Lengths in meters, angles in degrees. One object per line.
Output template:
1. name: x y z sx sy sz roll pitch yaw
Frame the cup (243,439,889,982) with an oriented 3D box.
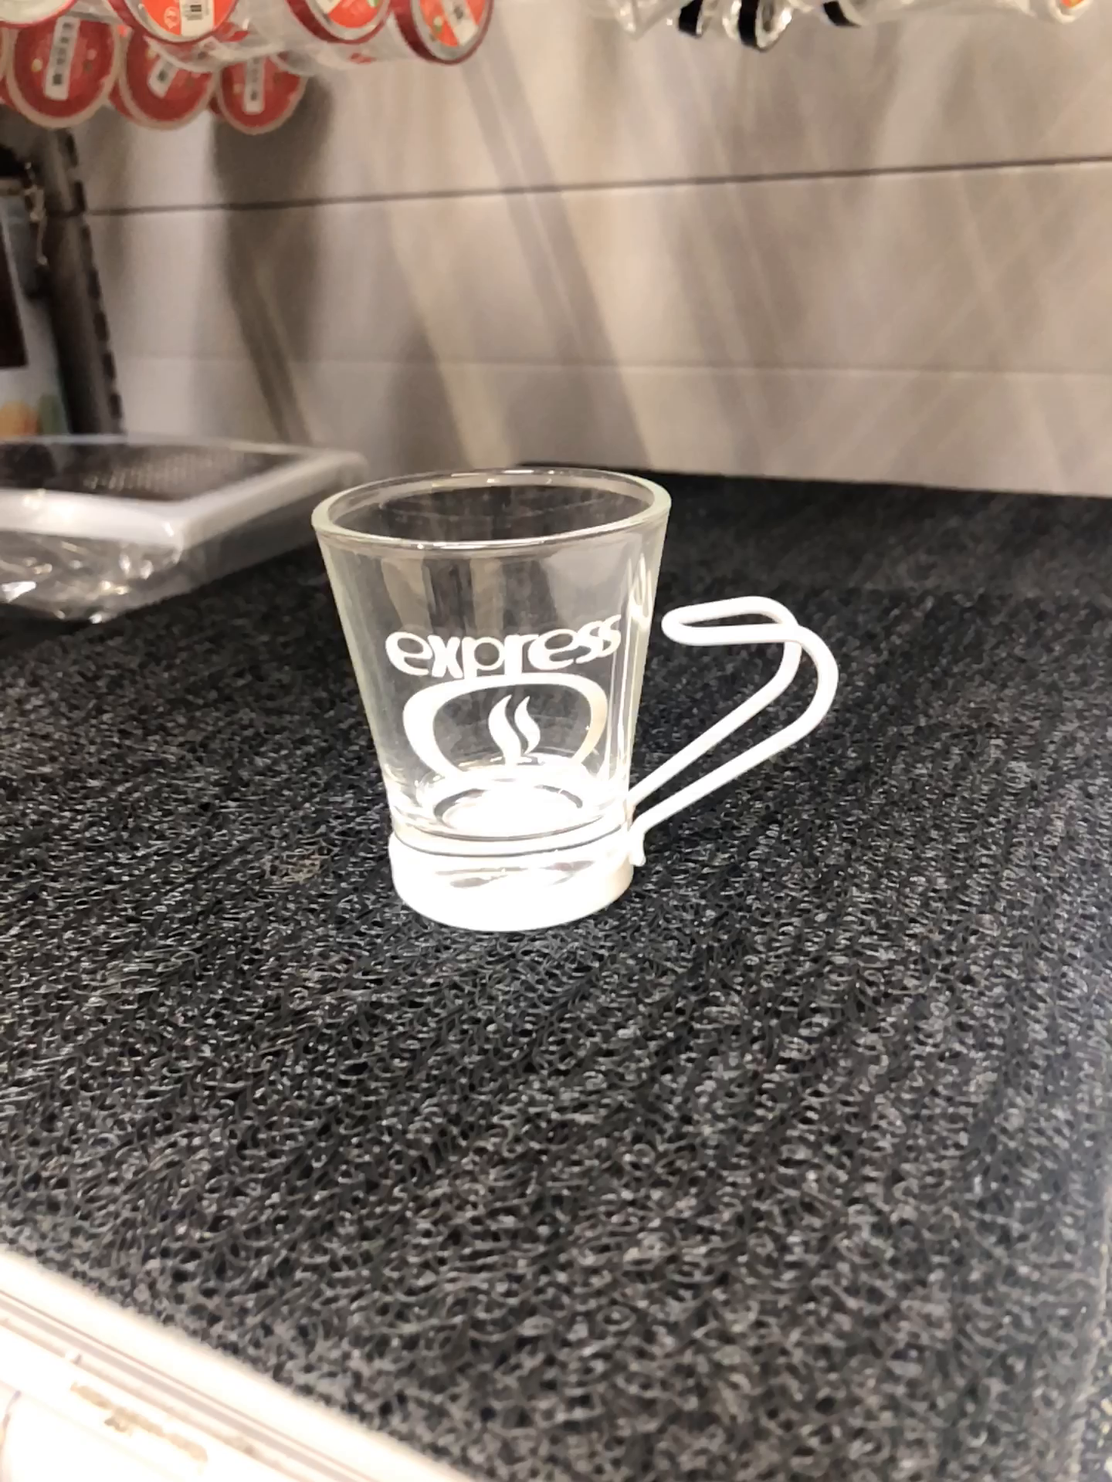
1. cup: -0.001 -0.010 0.217 0.092 0.063 0.060 -9 27 -14
